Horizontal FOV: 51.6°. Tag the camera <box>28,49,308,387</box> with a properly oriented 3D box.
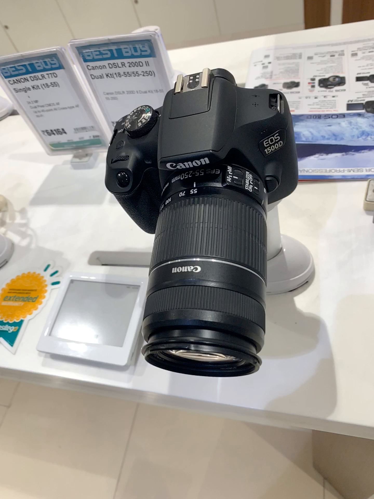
[{"bbox_3d":[0.003,-0.013,0.230,0.117,0.090,0.164,-4,62,16],"label":"camera"}]
